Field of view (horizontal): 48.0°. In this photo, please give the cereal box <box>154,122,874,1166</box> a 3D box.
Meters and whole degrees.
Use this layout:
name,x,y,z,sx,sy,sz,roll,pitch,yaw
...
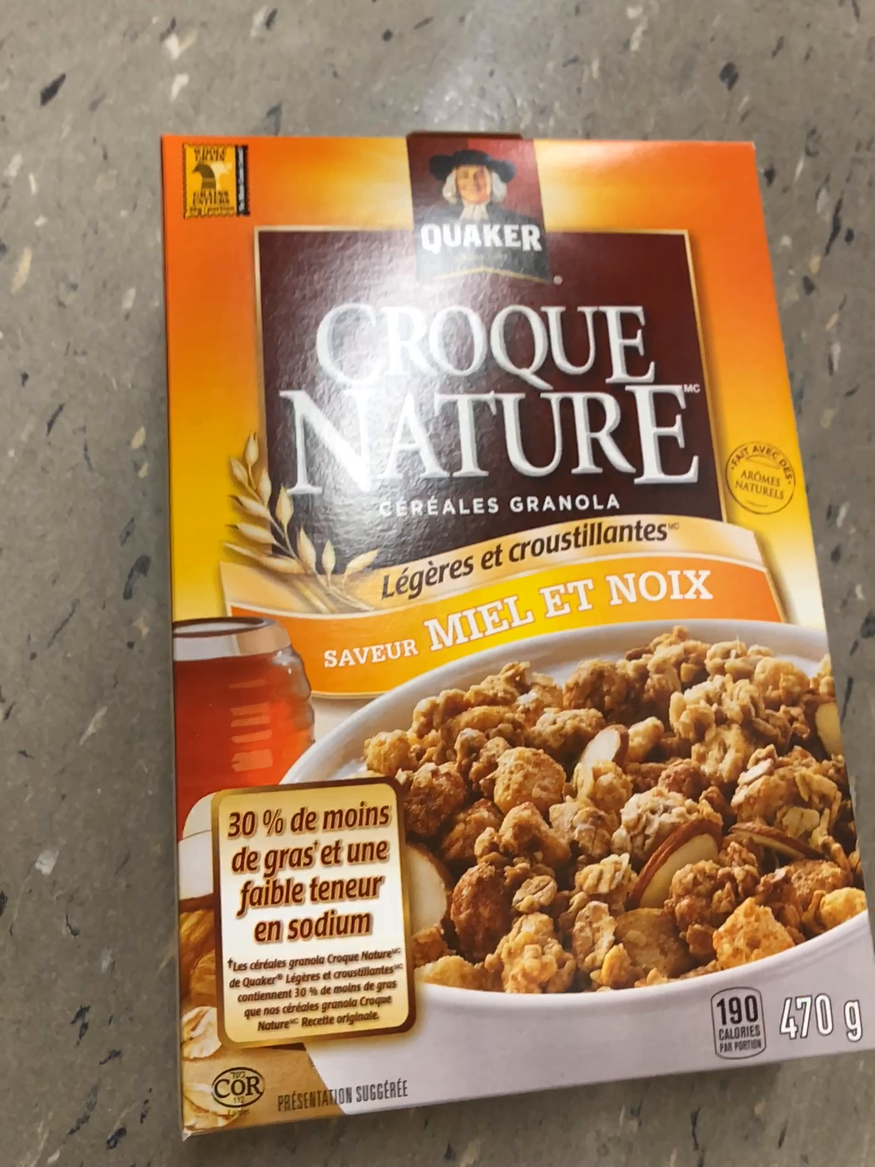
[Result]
name,x,y,z,sx,sy,sz,roll,pitch,yaw
cereal box,0.015,0.004,0.258,0.160,0.050,0.240,-3,80,-8
